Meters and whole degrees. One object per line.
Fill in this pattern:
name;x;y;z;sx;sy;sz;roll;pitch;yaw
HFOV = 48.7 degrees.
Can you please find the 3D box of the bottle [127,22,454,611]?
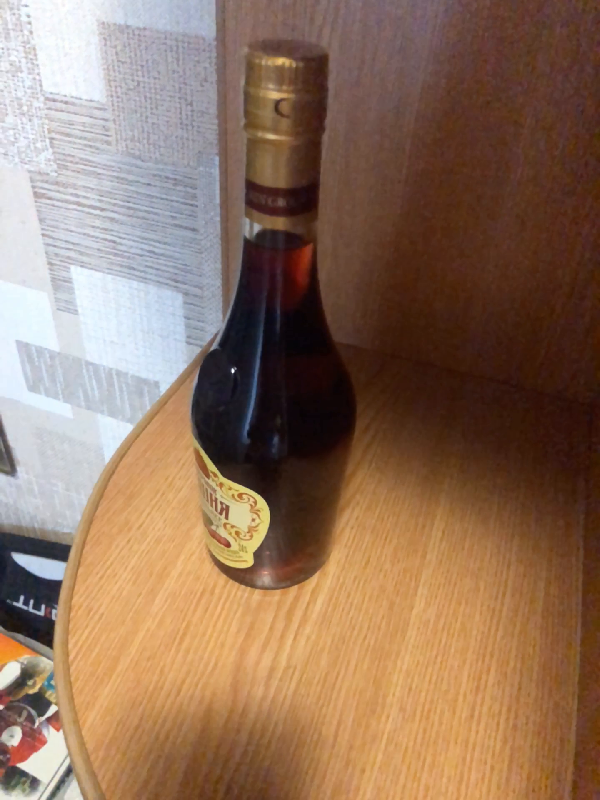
bottle;-0.015;-0.025;0.304;0.080;0.244;0.090;-16;43;-24
